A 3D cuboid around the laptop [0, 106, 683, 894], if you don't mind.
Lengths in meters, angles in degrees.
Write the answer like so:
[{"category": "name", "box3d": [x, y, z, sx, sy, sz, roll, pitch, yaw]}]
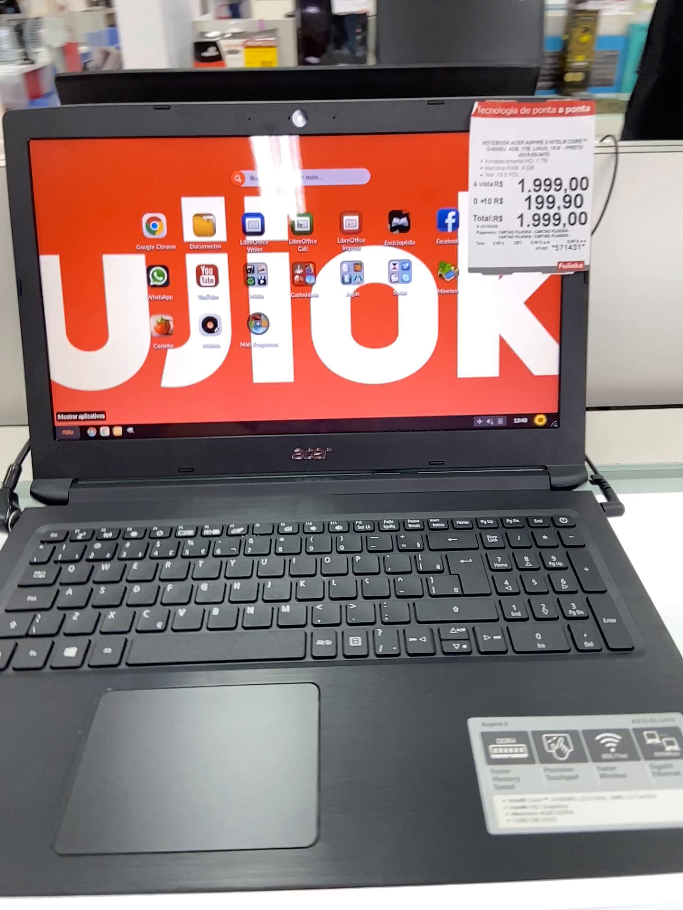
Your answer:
[{"category": "laptop", "box3d": [-0.024, -0.029, 0.369, 0.392, 0.230, 0.372, -2, 33, 0]}]
